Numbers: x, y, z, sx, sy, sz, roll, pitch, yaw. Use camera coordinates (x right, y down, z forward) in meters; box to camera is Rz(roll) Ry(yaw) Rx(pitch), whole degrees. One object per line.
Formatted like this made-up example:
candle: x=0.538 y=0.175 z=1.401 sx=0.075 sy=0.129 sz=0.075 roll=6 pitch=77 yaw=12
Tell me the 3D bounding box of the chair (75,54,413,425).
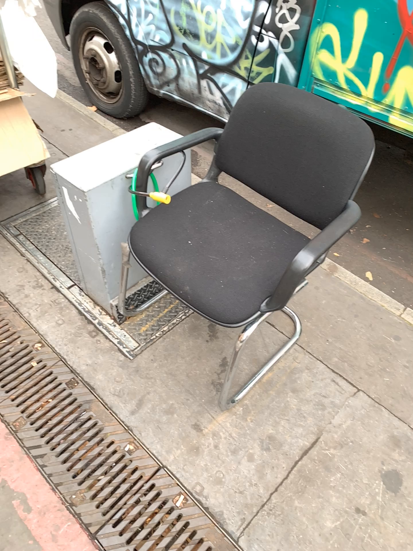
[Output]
chair: x=0.078 y=-0.108 z=1.260 sx=0.562 sy=0.753 sz=0.603 roll=38 pitch=54 yaw=24
